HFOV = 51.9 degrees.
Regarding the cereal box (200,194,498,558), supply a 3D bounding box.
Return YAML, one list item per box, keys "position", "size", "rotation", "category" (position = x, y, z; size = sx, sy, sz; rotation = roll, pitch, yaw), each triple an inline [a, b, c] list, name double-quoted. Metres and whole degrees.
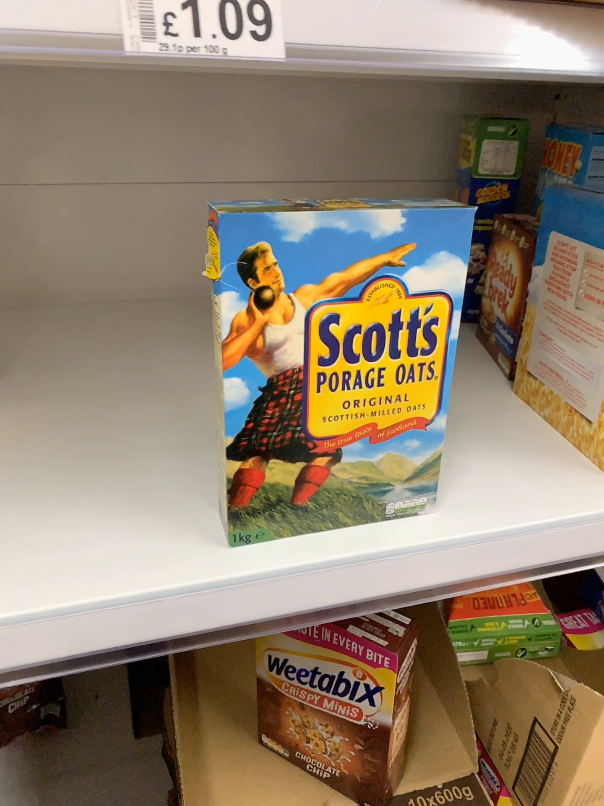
- position: [0.029, -0.022, 0.500]
  size: [0.200, 0.268, 0.071]
  rotation: [-6, 27, -17]
  category: "cereal box"
